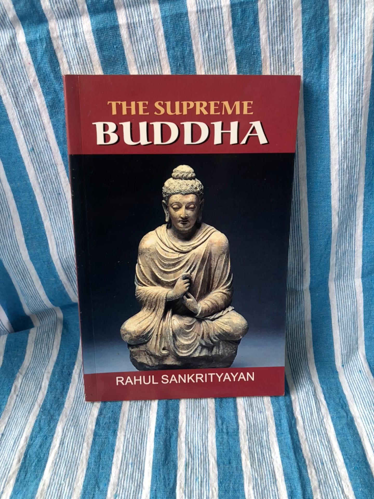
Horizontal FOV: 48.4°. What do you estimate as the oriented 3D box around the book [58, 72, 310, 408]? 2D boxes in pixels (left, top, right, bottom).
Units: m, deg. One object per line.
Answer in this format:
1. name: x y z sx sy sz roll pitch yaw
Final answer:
1. book: -0.001 0.000 0.281 0.150 0.219 0.020 -1 12 -2
